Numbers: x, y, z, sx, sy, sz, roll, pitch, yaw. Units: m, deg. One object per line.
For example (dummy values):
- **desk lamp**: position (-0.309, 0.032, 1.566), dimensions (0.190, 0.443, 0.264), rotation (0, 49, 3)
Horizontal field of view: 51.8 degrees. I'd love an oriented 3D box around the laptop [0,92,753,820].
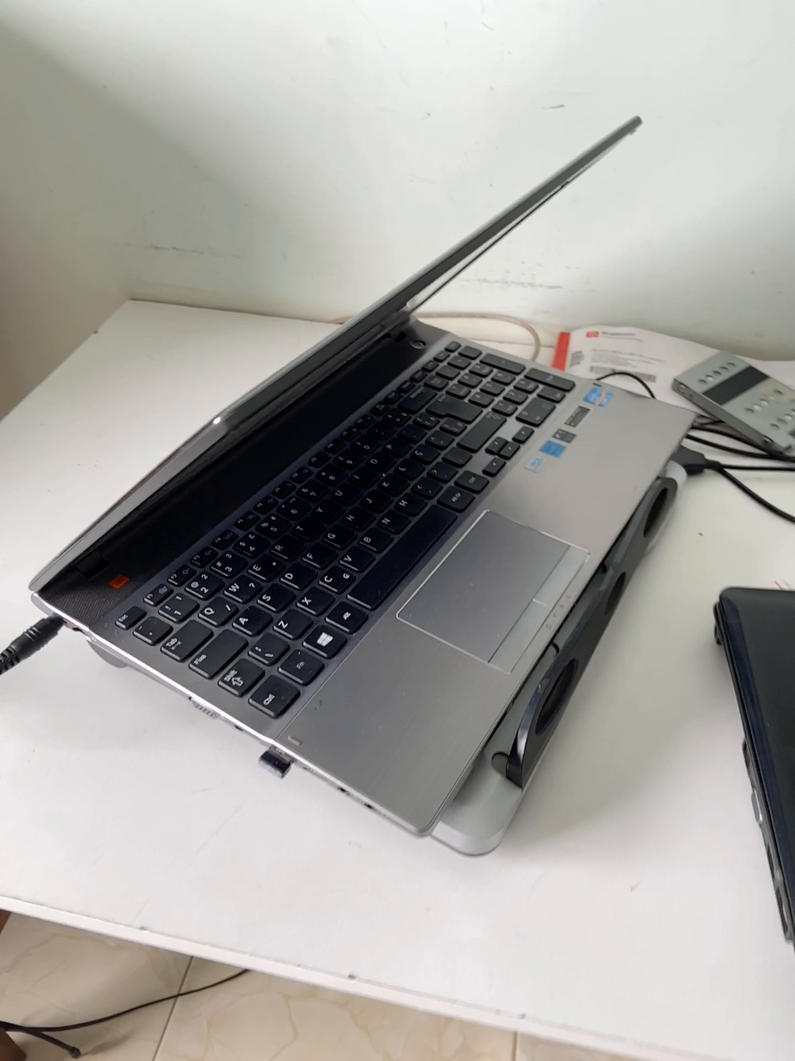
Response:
- **laptop**: position (0.010, -0.086, 0.444), dimensions (0.230, 0.164, 0.360), rotation (24, 46, 22)
